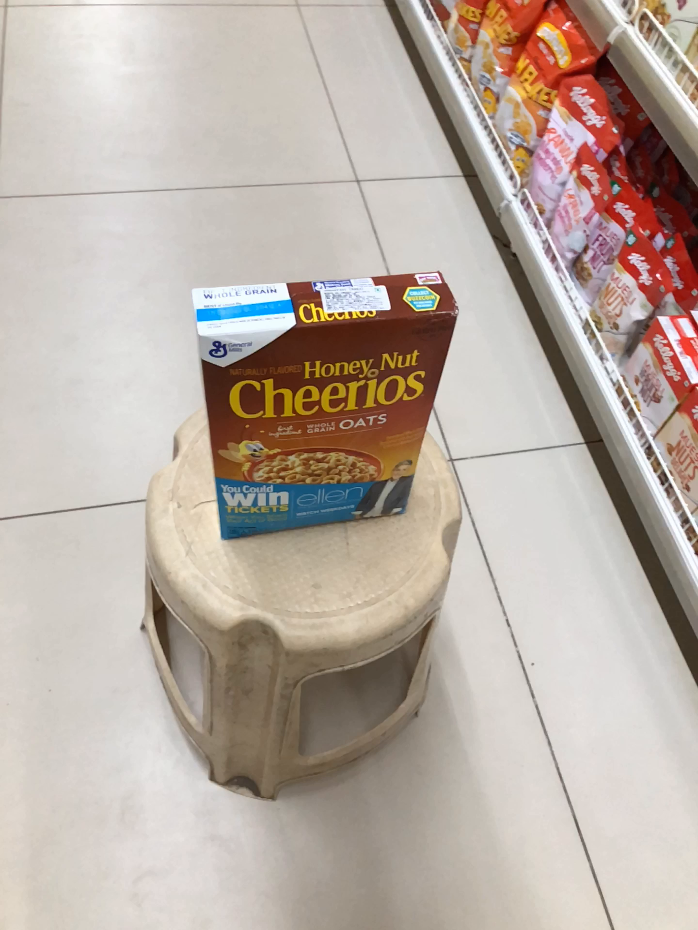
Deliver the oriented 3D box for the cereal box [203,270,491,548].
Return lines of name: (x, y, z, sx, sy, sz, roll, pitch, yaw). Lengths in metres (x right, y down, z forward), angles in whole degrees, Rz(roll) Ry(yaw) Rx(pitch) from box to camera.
cereal box: (-0.015, -0.032, 0.635, 0.190, 0.278, 0.050, -7, 58, -12)
